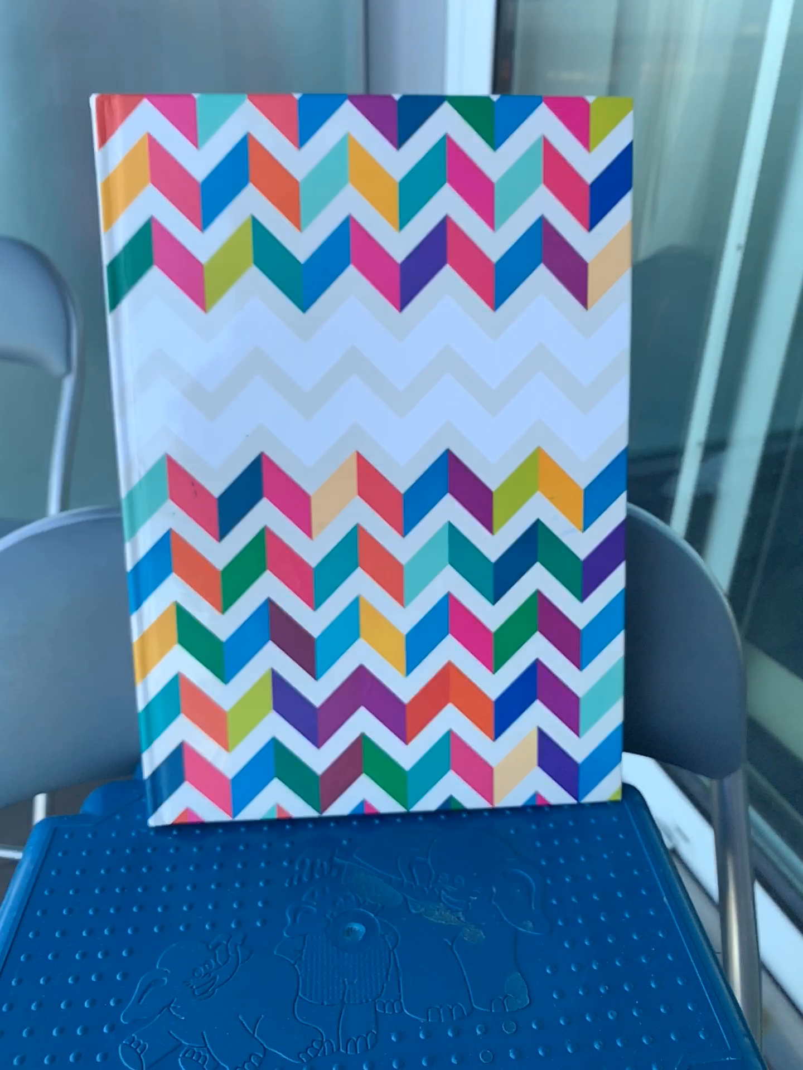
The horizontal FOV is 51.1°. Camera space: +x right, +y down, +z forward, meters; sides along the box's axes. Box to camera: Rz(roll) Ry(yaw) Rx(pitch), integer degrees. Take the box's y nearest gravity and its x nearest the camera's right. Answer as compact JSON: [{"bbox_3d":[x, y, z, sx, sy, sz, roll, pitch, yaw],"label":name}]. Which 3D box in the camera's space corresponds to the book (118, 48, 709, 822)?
[{"bbox_3d":[0.006,-0.032,0.335,0.211,0.290,0.030,-1,8,-2],"label":"book"}]
